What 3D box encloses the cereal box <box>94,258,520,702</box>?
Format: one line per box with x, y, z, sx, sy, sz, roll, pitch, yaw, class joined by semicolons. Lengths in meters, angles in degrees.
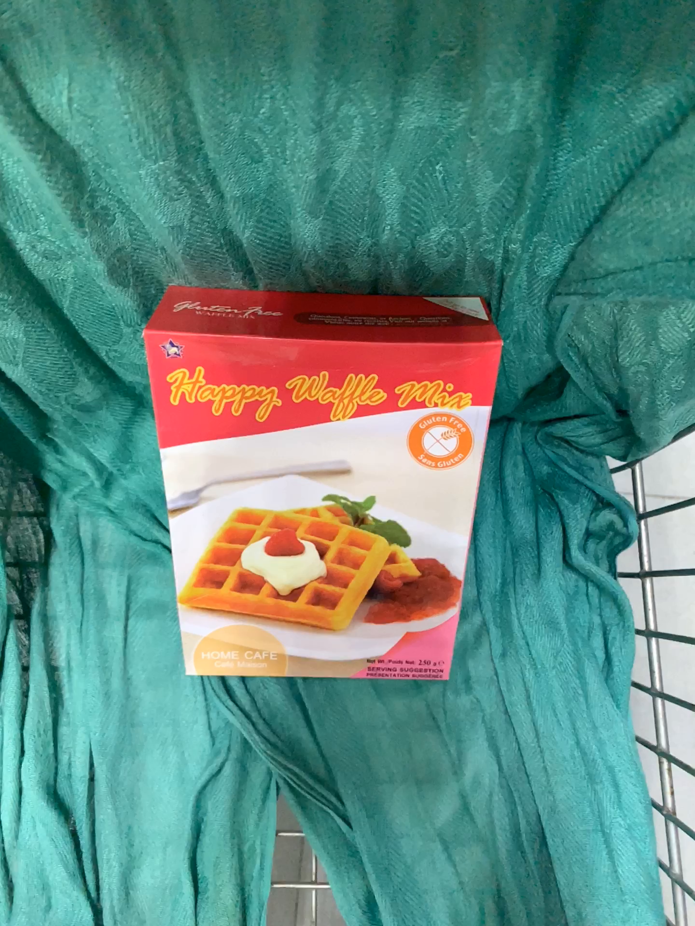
-0.015;0.016;0.290;0.130;0.180;0.050;2;35;0;cereal box
